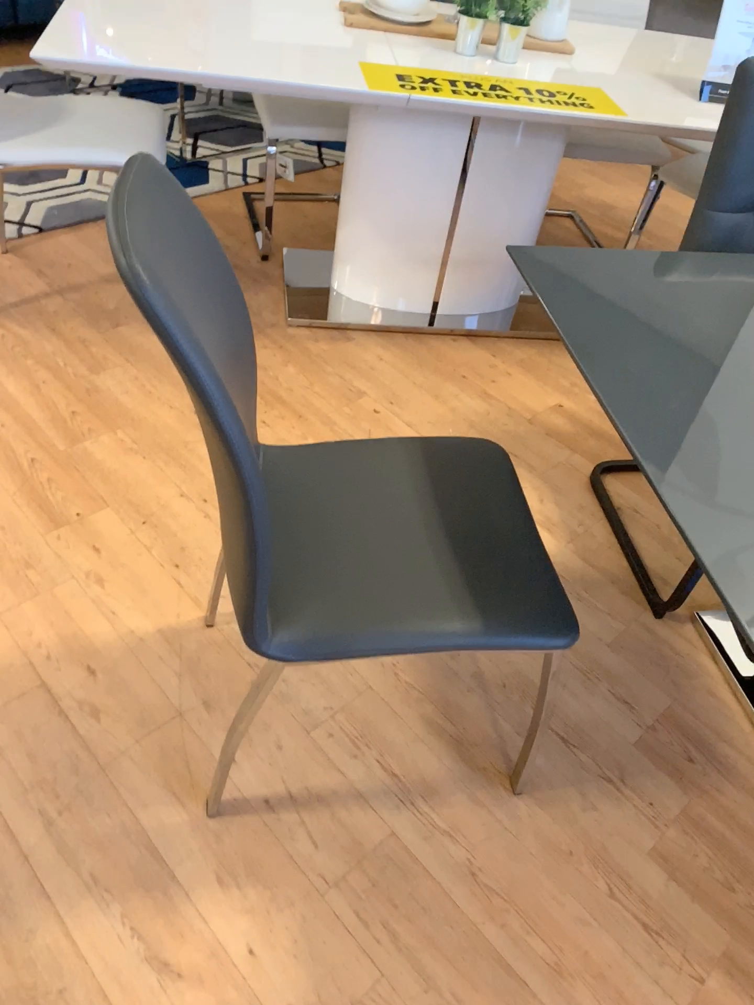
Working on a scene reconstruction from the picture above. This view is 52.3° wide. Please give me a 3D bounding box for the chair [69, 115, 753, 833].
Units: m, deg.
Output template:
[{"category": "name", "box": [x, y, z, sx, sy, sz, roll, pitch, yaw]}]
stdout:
[{"category": "chair", "box": [-0.014, 0.022, 1.117, 0.640, 0.891, 0.484, 0, 44, -12]}]
